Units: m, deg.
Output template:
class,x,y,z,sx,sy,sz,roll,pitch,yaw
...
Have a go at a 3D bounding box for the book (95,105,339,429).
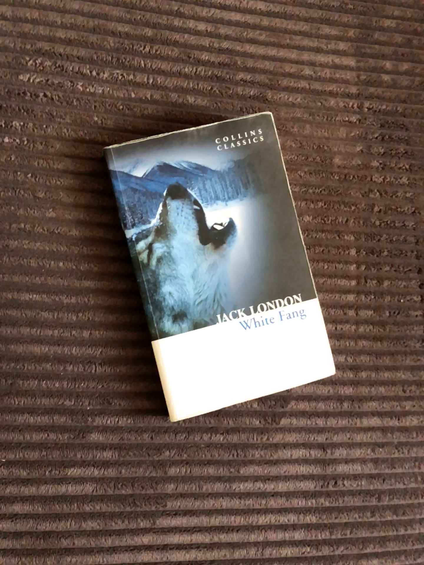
class,x,y,z,sx,sy,sz,roll,pitch,yaw
book,0.004,-0.010,0.303,0.114,0.030,0.178,-13,91,-3
